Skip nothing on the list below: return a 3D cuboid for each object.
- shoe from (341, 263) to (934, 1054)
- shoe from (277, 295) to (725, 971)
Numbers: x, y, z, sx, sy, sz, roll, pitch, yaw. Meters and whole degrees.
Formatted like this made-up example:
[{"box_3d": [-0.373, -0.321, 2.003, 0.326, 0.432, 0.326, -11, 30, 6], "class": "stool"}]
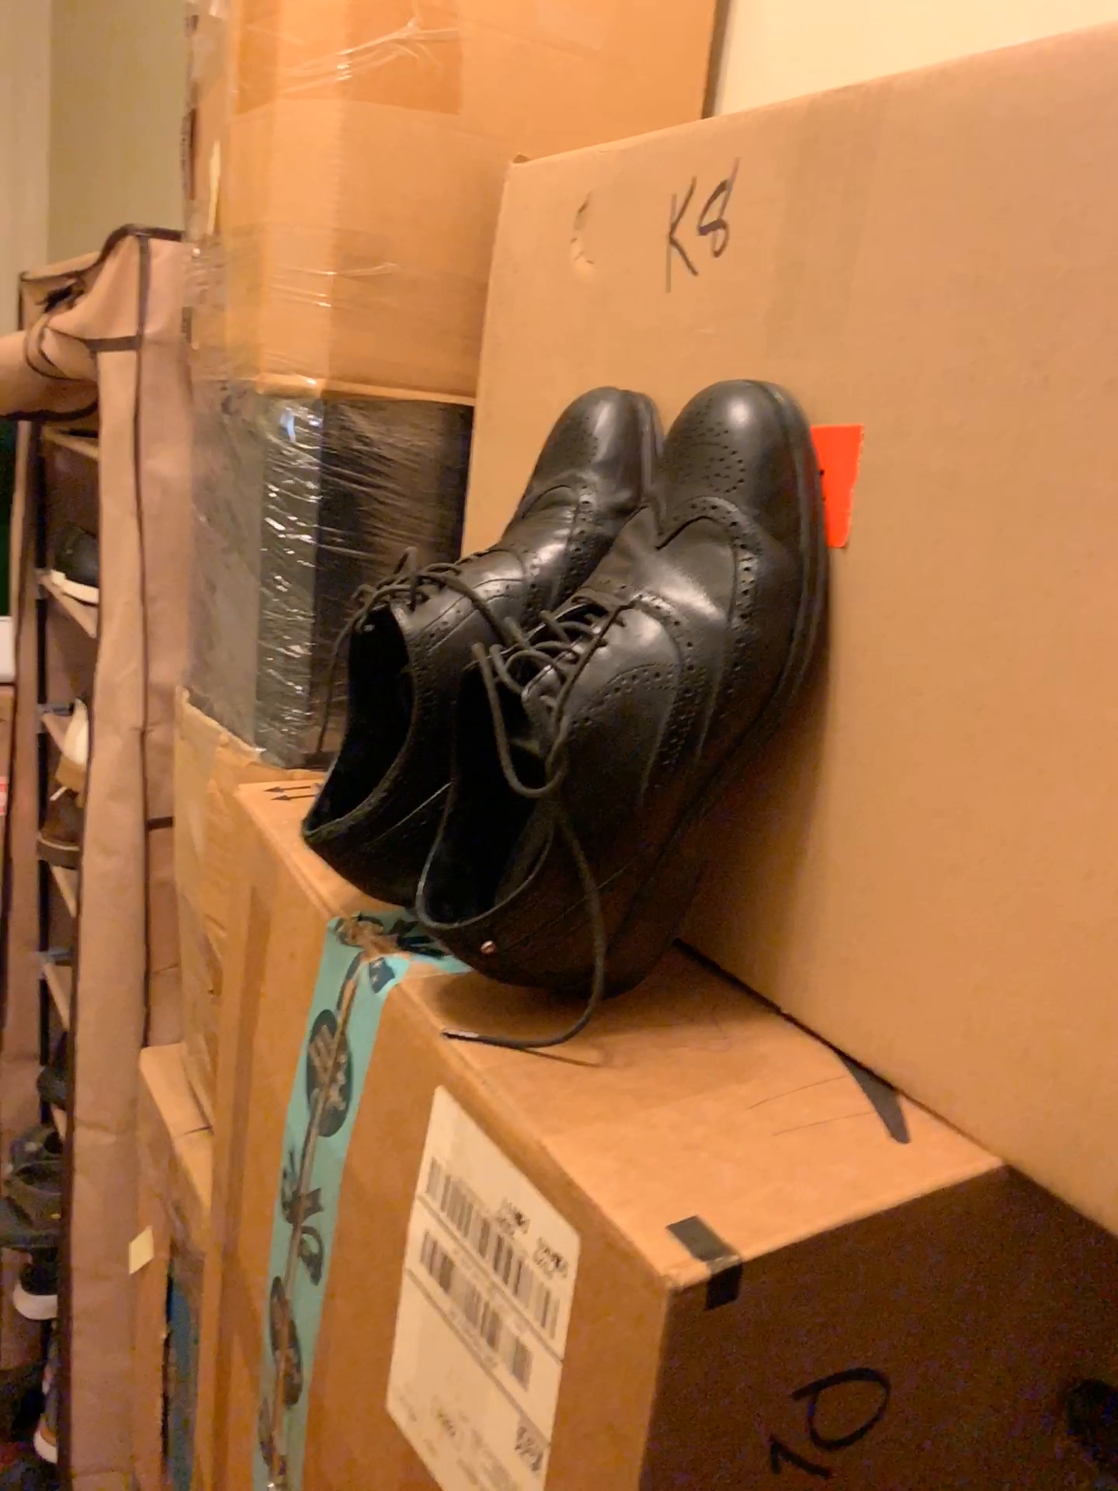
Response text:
[{"box_3d": [0.024, -0.034, 0.467, 0.100, 0.280, 0.120, 15, 7, -37], "class": "shoe"}, {"box_3d": [-0.029, -0.050, 0.554, 0.100, 0.280, 0.120, 17, -5, -39], "class": "shoe"}]
